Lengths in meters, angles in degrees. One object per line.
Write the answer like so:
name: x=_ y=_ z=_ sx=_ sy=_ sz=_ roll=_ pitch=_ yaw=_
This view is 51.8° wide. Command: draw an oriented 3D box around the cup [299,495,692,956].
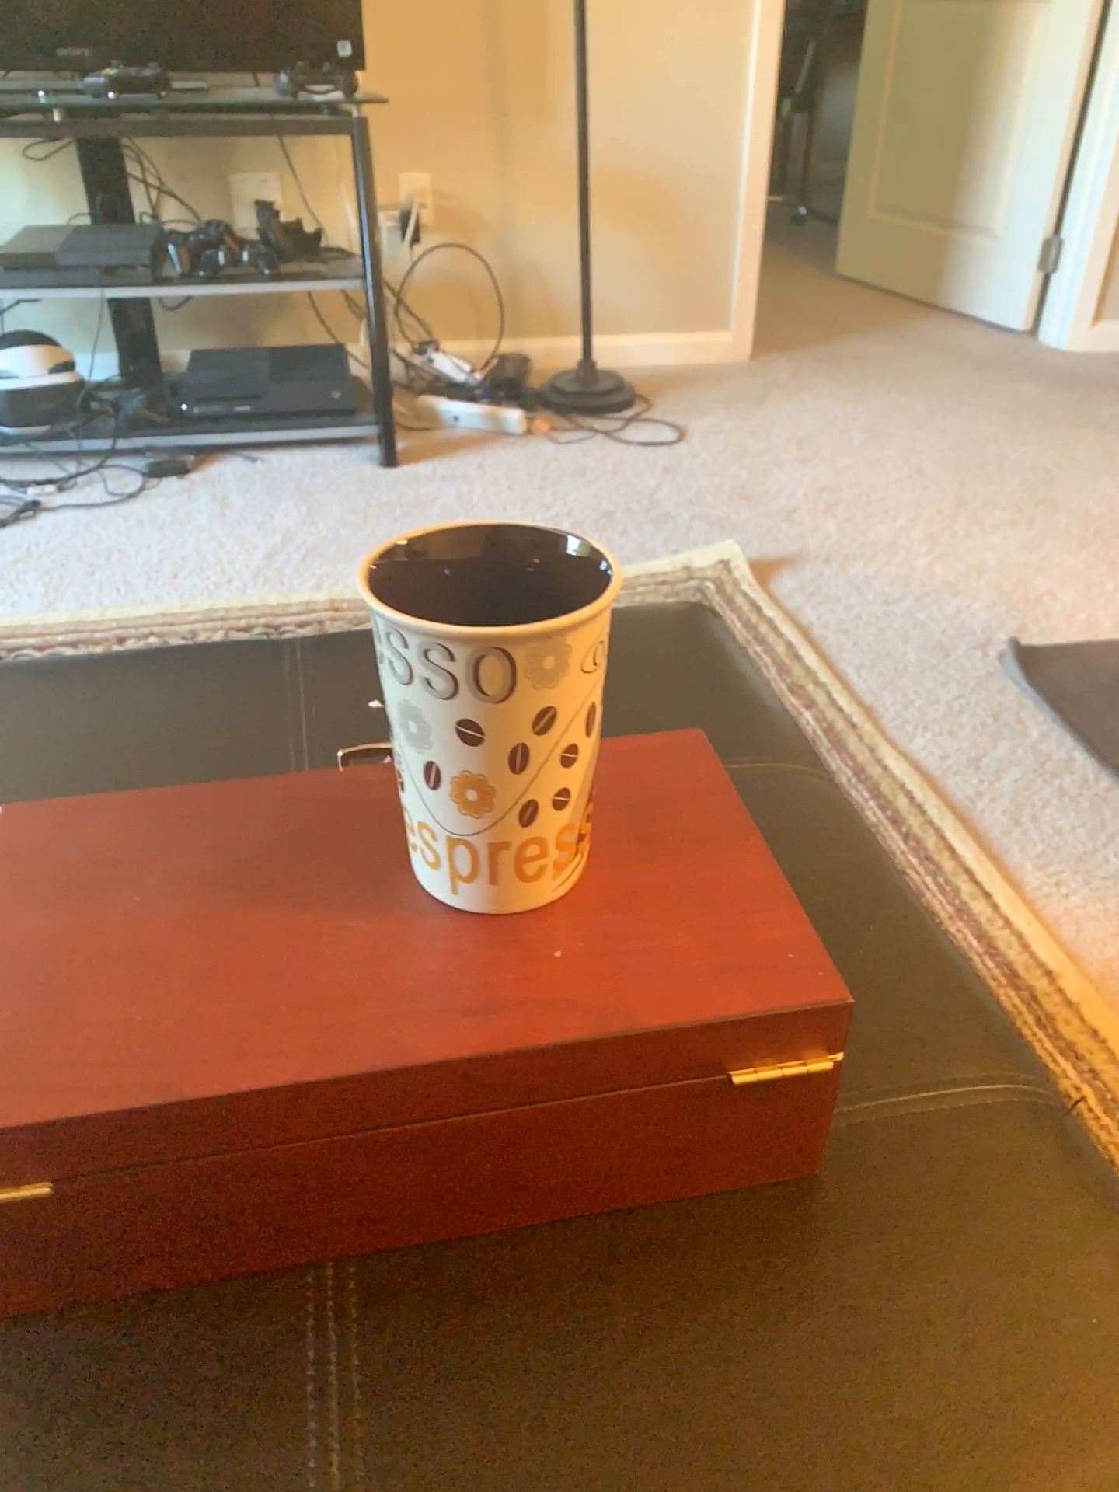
cup: x=-0.018 y=-0.012 z=0.398 sx=0.090 sy=0.109 sz=0.090 roll=0 pitch=33 yaw=0
